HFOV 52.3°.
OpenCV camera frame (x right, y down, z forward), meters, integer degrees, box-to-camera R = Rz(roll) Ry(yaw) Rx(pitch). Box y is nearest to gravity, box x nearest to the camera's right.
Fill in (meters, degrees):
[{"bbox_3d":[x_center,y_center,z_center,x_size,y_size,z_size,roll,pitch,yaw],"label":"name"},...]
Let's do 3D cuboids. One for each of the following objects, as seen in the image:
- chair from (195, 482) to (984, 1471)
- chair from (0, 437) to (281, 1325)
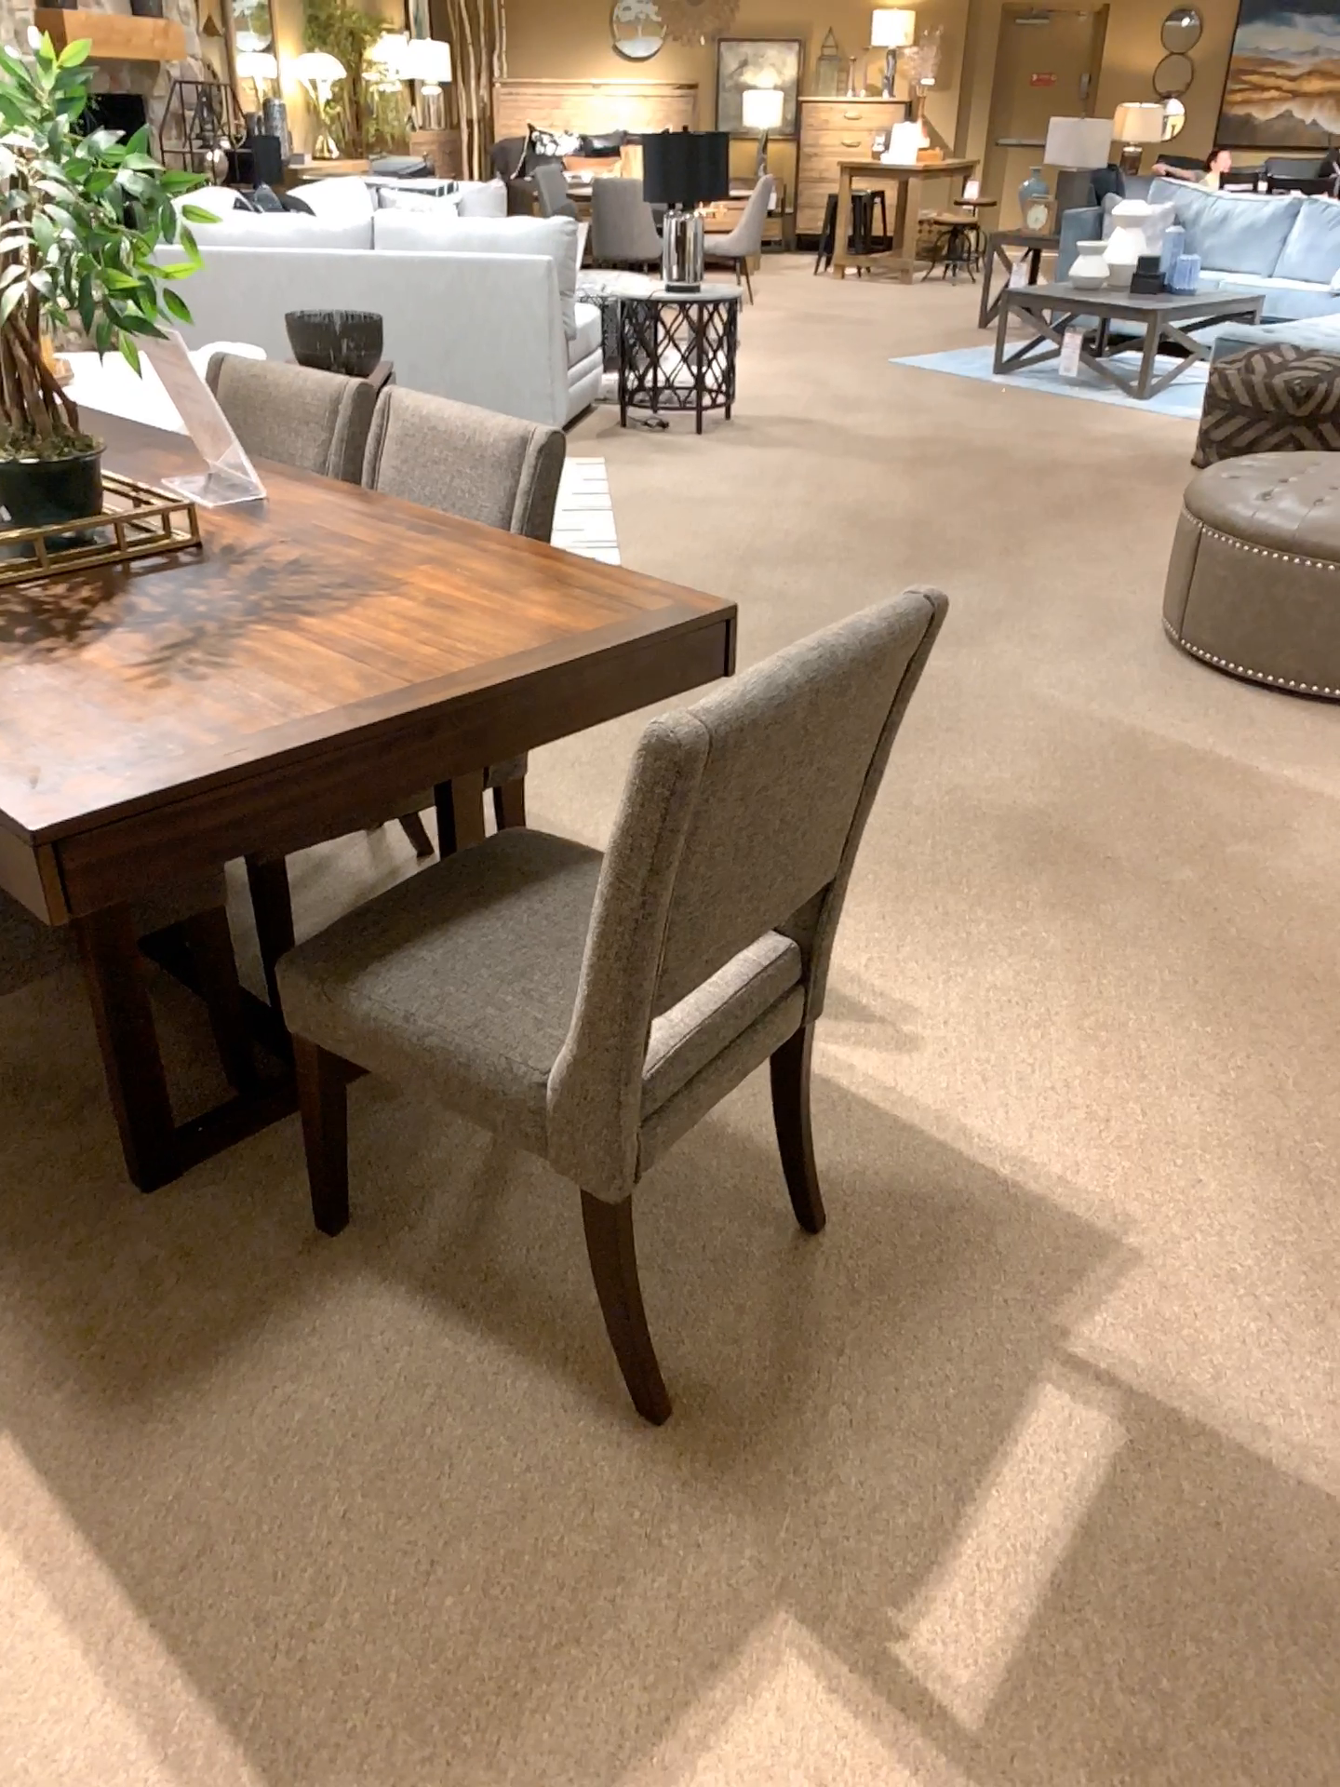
[{"bbox_3d":[-0.086,0.054,1.583,0.632,0.863,0.481,20,35,30],"label":"chair"},{"bbox_3d":[-0.961,-0.059,1.755,0.480,0.863,0.632,25,37,35],"label":"chair"}]
